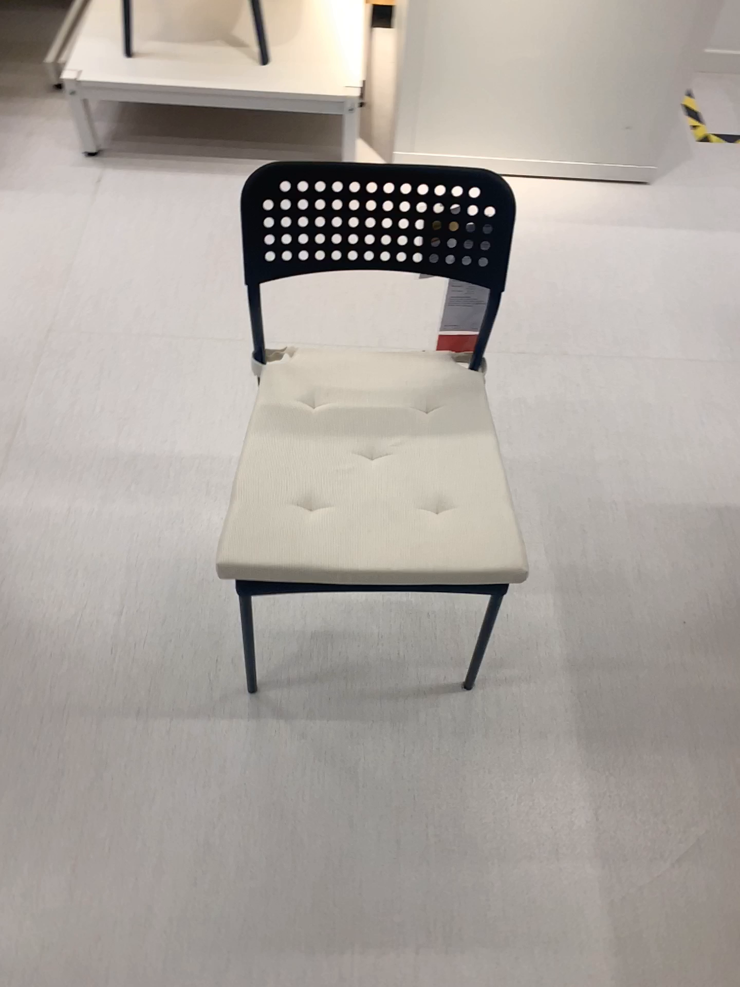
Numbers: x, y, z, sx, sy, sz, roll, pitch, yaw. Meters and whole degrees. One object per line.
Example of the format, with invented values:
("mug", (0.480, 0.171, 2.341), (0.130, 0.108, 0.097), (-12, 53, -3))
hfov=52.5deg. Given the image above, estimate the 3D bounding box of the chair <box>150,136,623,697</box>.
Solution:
("chair", (-0.003, -0.046, 1.163), (0.450, 0.759, 0.491), (1, 57, -3))
